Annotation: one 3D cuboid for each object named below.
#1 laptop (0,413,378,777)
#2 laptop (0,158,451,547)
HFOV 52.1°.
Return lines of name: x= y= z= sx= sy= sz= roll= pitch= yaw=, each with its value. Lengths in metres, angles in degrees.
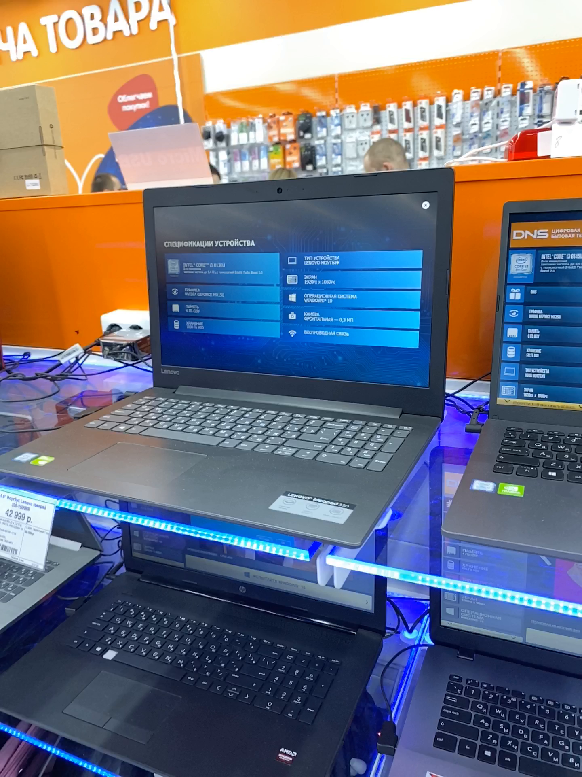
laptop: x=-0.129 y=0.210 z=0.687 sx=0.401 sy=0.263 sz=0.271 roll=5 pitch=16 yaw=22
laptop: x=-0.069 y=-0.069 z=0.571 sx=0.378 sy=0.245 sz=0.290 roll=5 pitch=18 yaw=25
